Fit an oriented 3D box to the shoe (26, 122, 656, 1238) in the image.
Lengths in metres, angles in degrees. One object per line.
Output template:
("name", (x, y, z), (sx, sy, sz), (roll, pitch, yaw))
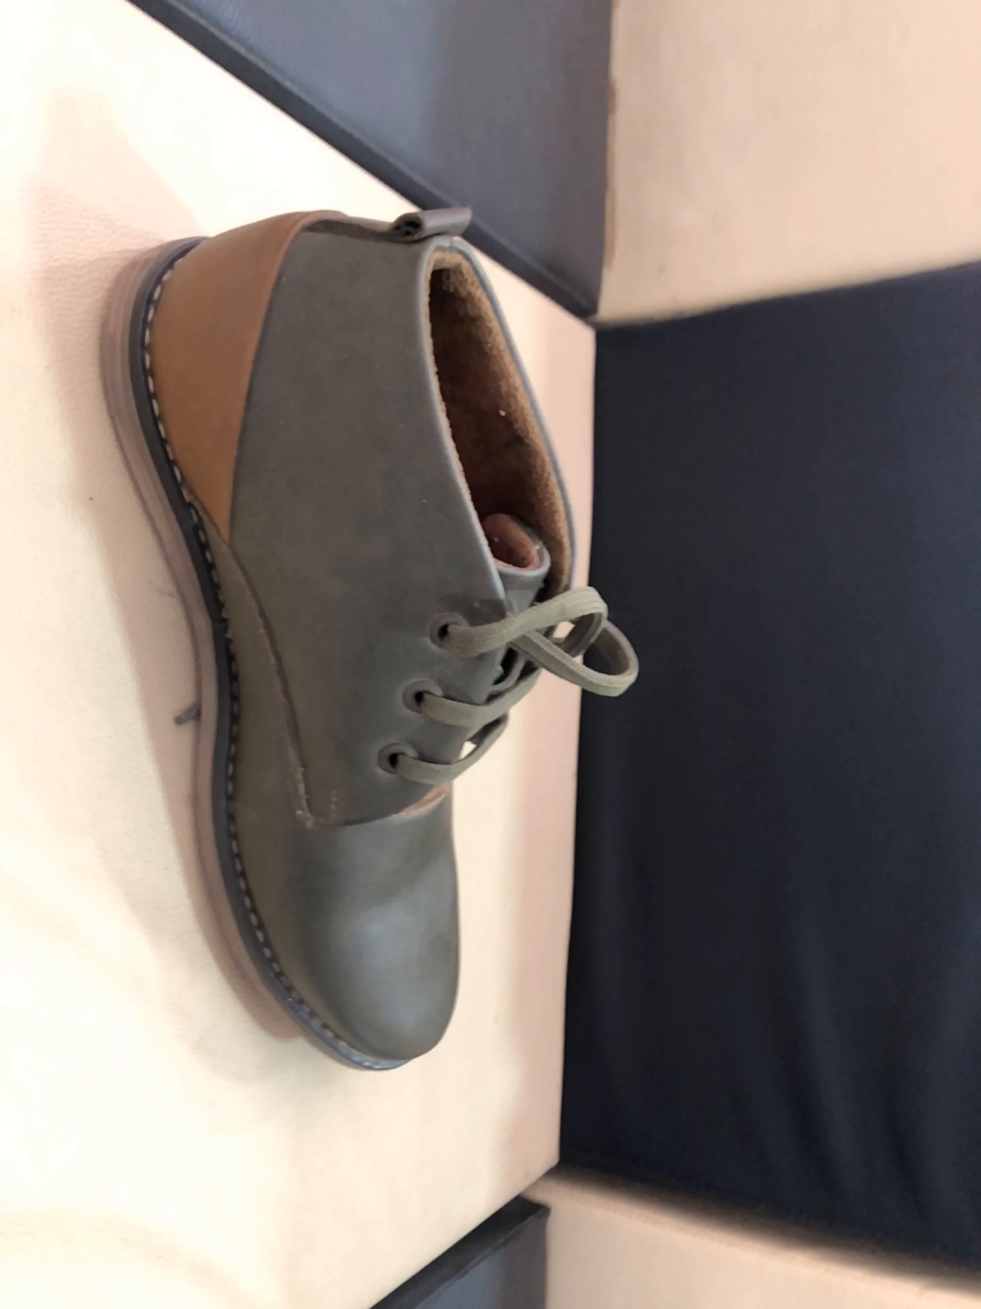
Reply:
("shoe", (-0.029, 0.013, 0.314), (0.081, 0.099, 0.280), (-35, 121, -54))
